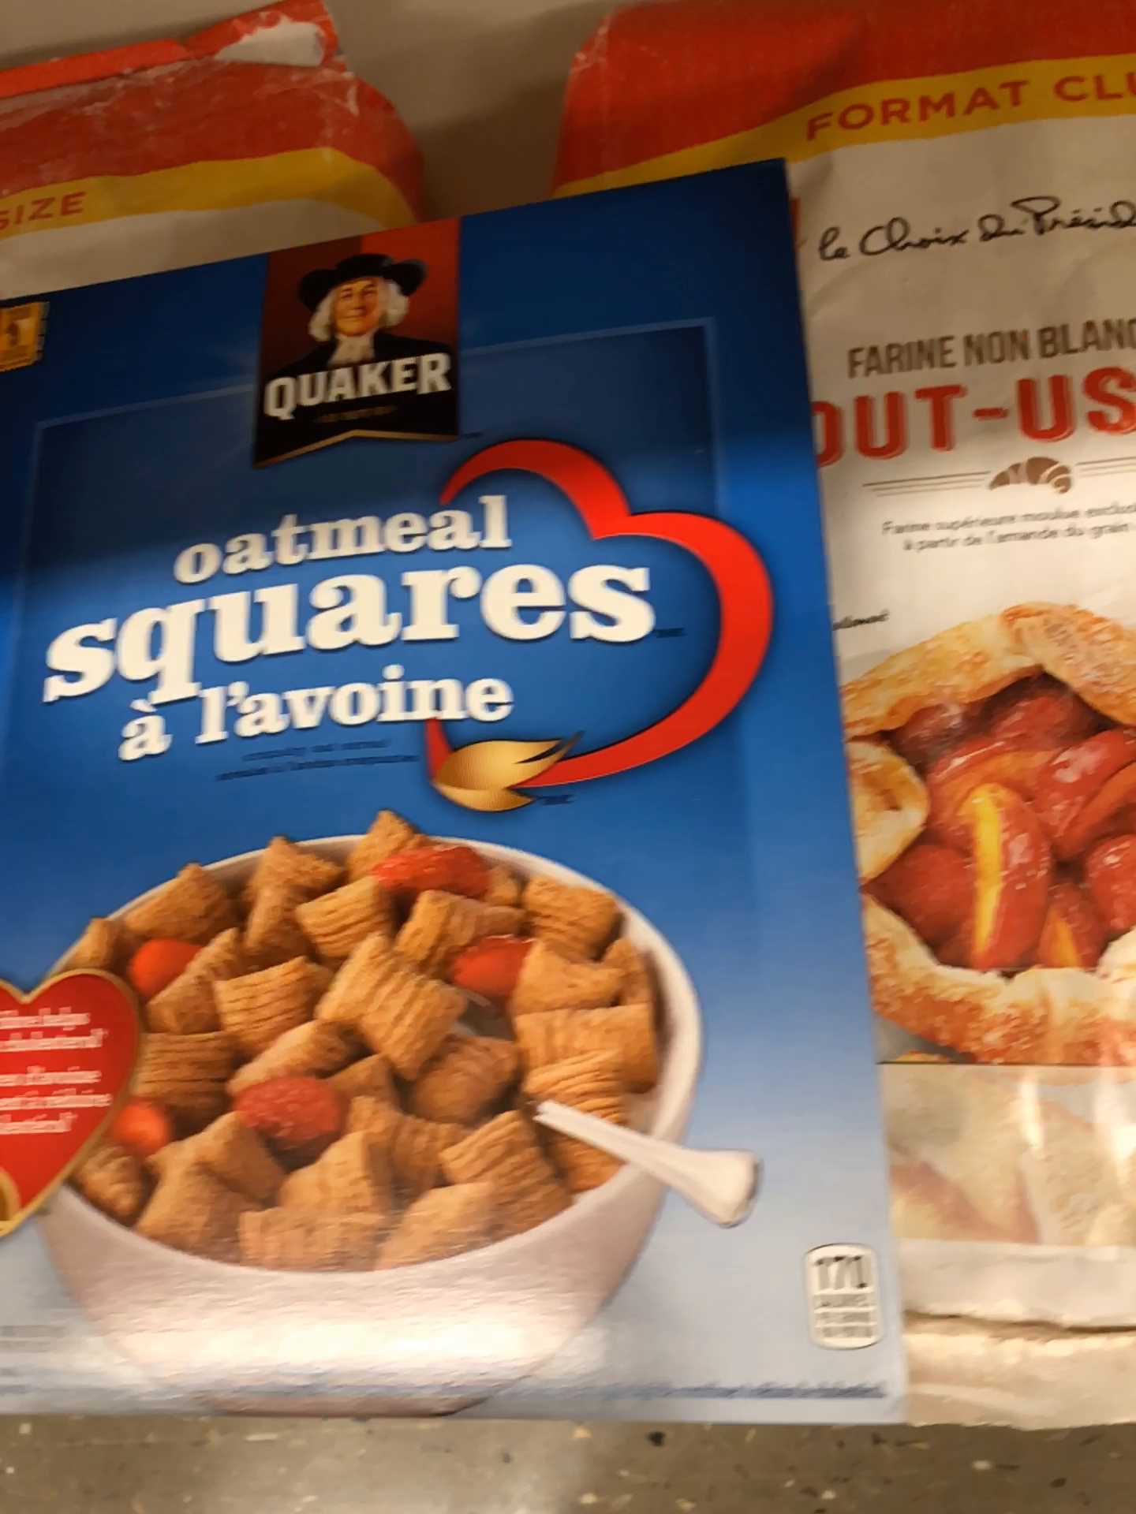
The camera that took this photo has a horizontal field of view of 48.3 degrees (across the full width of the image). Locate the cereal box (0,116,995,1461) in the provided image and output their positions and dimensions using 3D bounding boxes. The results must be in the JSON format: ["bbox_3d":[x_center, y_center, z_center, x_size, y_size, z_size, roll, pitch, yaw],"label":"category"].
[{"bbox_3d":[-0.030,0.001,0.300,0.210,0.060,0.280,-5,71,11],"label":"cereal box"}]
